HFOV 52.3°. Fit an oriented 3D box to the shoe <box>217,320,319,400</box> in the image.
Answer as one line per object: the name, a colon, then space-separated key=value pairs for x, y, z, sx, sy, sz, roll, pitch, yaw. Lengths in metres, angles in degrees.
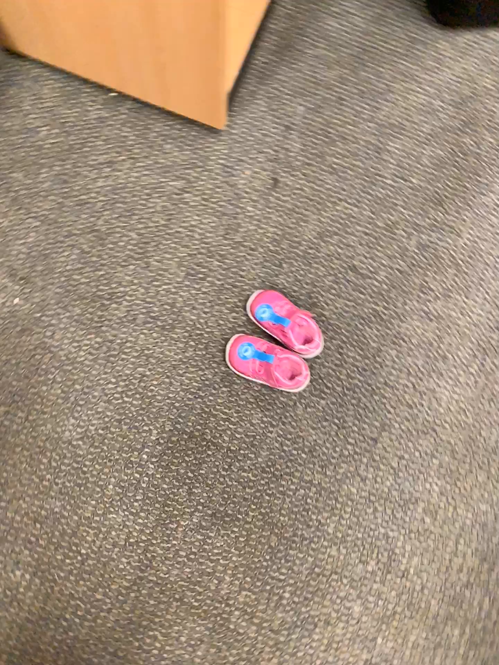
shoe: x=0.027 y=0.044 z=0.793 sx=0.140 sy=0.040 sz=0.070 roll=23 pitch=80 yaw=1

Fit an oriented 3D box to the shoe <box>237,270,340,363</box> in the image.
shoe: x=0.058 y=-0.024 z=0.785 sx=0.140 sy=0.040 sz=0.070 roll=35 pitch=80 yaw=3
